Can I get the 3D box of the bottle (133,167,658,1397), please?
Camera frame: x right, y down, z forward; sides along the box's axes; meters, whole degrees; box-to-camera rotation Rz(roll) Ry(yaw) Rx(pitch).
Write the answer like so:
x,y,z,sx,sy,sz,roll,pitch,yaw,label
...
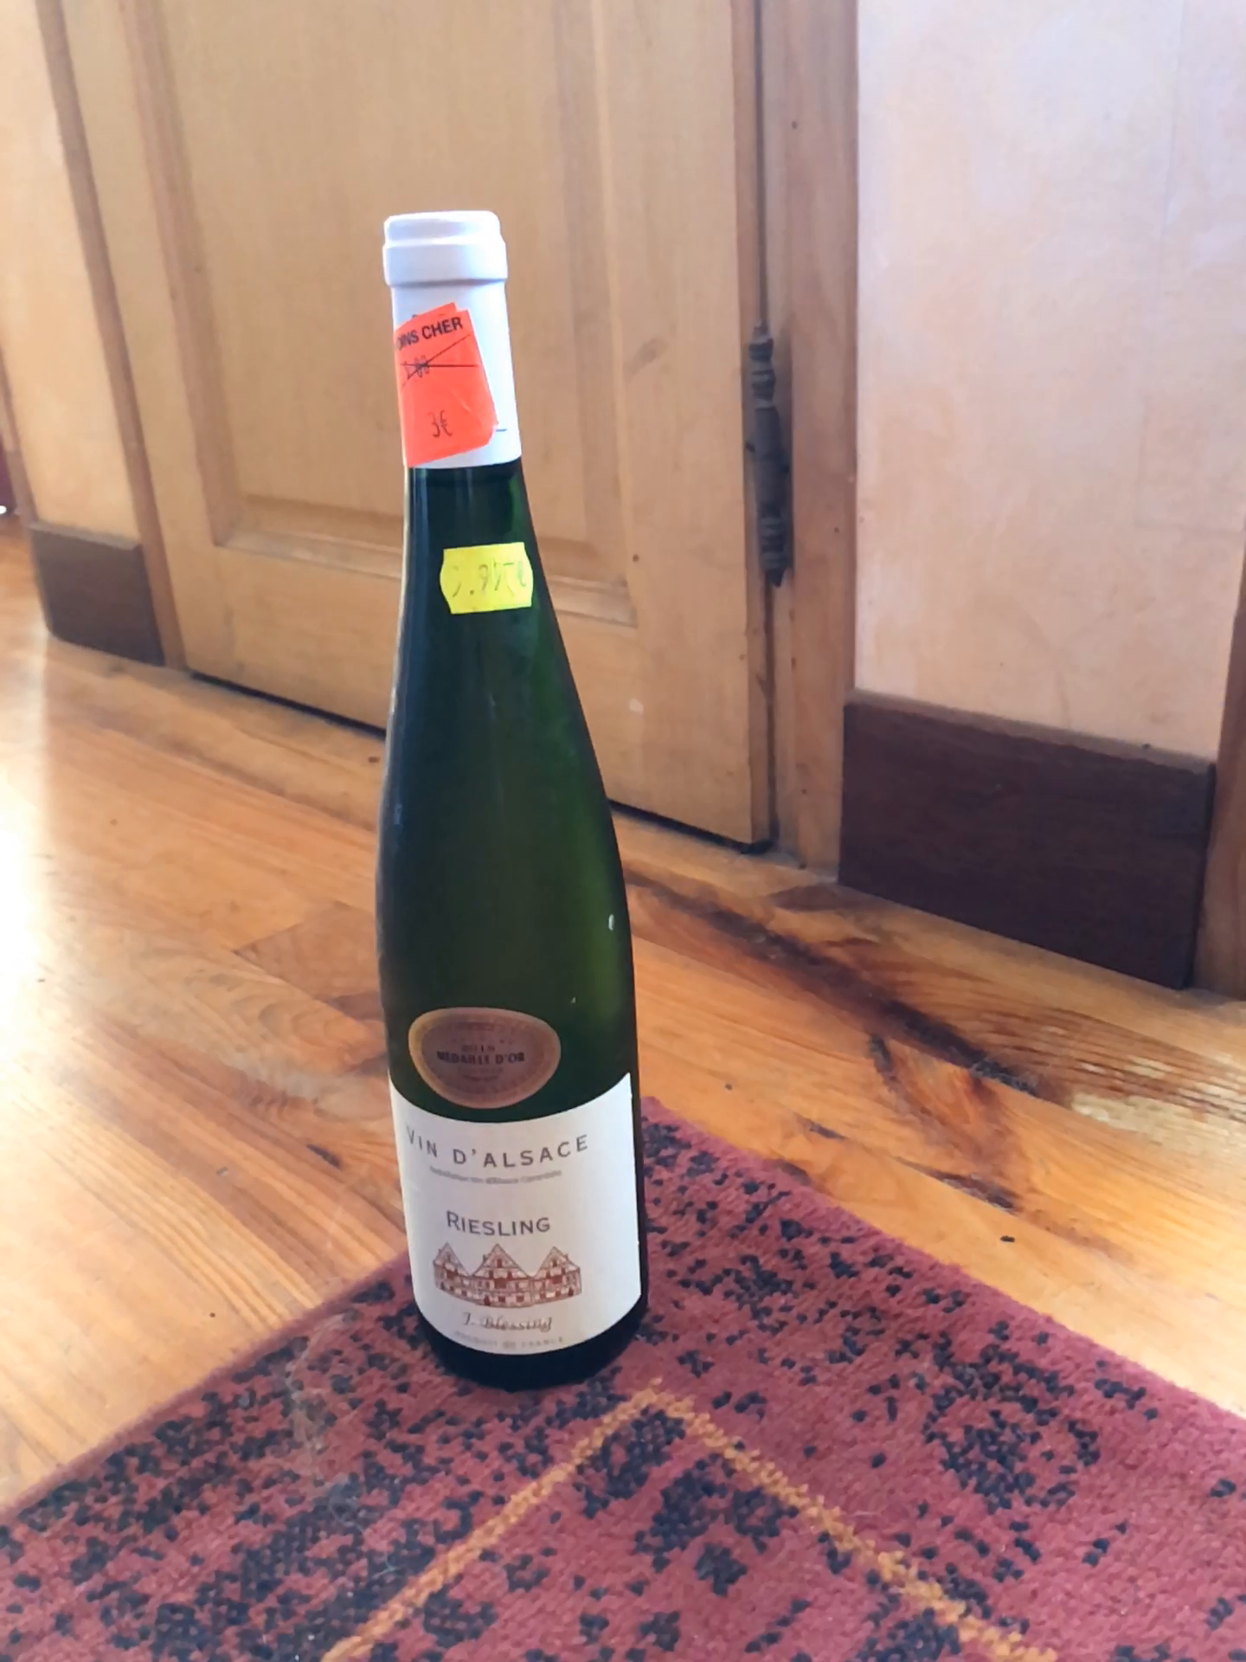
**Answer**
x,y,z,sx,sy,sz,roll,pitch,yaw,label
-0.041,0.000,0.351,0.080,0.298,0.080,-3,23,1,bottle
